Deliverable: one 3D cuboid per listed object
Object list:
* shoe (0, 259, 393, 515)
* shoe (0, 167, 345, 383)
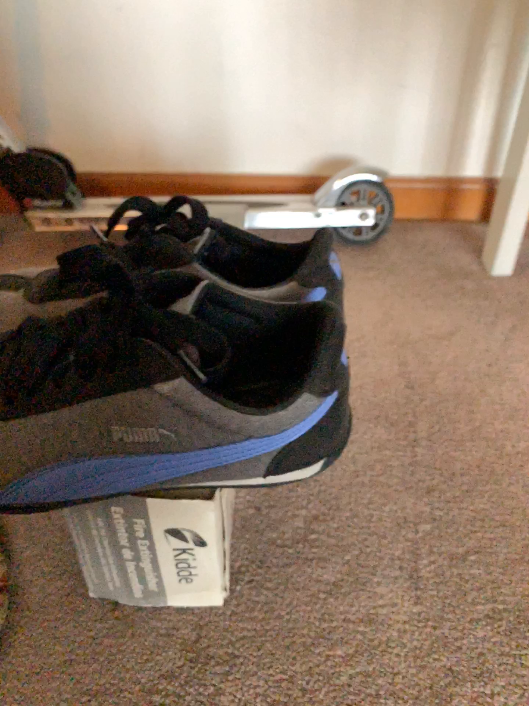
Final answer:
[{"bbox_3d":[-0.076,0.012,0.271,0.250,0.077,0.101,-1,33,2],"label":"shoe"},{"bbox_3d":[-0.077,-0.051,0.344,0.240,0.077,0.111,-2,38,3],"label":"shoe"}]
